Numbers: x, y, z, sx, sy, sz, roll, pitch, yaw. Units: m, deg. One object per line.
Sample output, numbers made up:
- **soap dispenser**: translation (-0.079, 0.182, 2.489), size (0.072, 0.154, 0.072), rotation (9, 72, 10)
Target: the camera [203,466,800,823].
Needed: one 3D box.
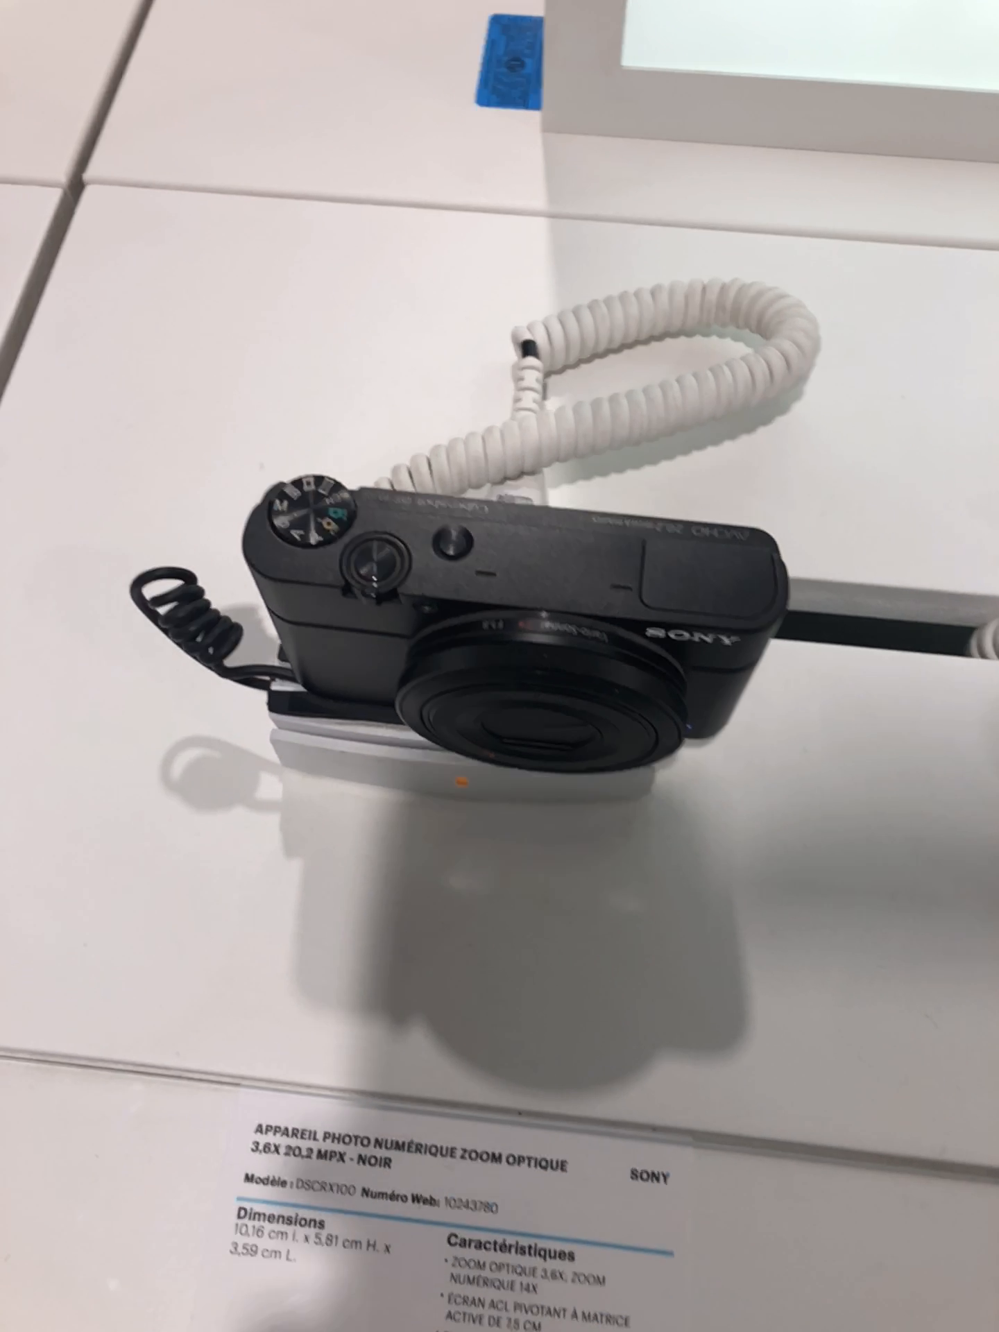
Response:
- **camera**: translation (0.002, -0.002, 0.219), size (0.100, 0.056, 0.036), rotation (7, 63, 4)
